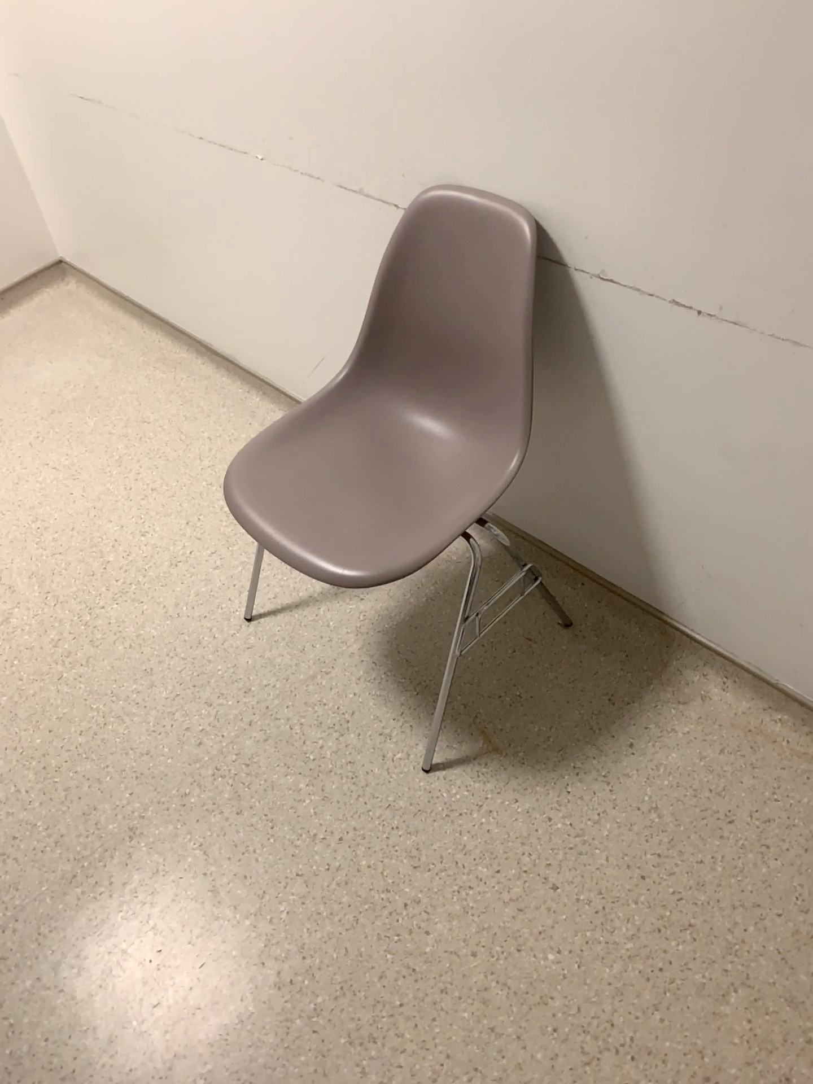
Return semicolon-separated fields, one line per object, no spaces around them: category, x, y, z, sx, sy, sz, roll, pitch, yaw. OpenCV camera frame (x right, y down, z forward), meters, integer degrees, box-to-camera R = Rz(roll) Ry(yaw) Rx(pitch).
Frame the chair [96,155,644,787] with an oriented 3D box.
chair;-0.027;-0.129;1.454;0.542;0.783;0.583;-37;51;-27
